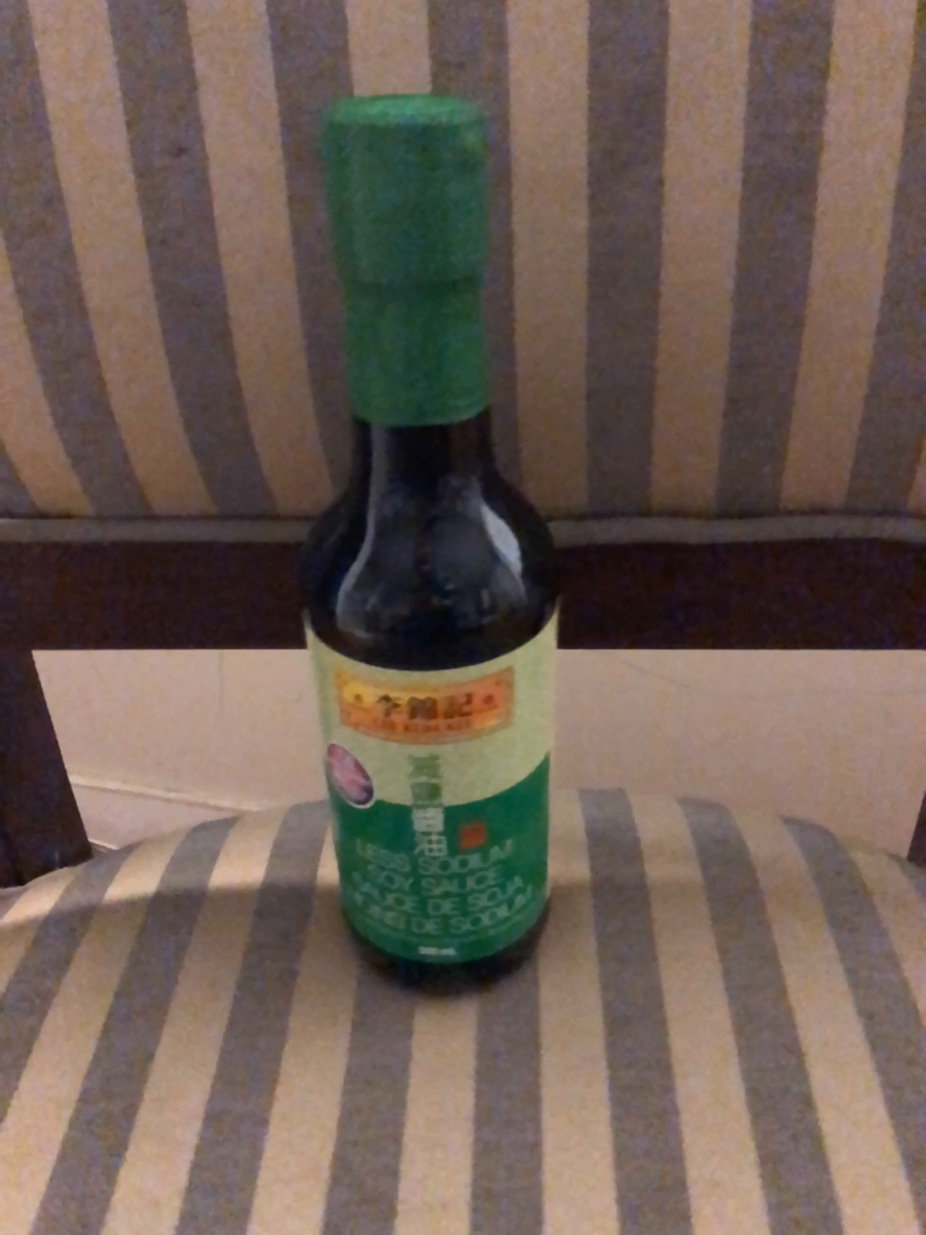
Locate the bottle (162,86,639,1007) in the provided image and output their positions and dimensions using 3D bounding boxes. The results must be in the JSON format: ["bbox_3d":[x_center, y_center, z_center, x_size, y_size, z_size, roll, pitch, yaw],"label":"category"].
[{"bbox_3d":[-0.005,-0.003,0.262,0.080,0.228,0.070,2,34,5],"label":"bottle"}]
